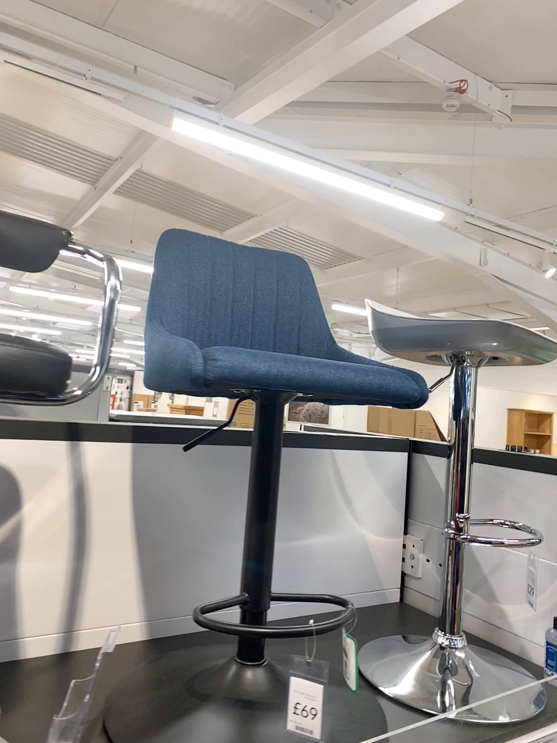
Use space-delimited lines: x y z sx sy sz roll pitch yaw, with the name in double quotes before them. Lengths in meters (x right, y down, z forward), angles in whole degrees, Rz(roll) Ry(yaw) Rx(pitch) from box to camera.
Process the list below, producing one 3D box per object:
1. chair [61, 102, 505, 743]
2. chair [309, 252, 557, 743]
"chair" -0.005 0.131 1.021 0.538 0.873 0.507 8 -5 -32
"chair" 0.371 0.209 1.159 0.408 0.763 0.387 8 -5 -32
